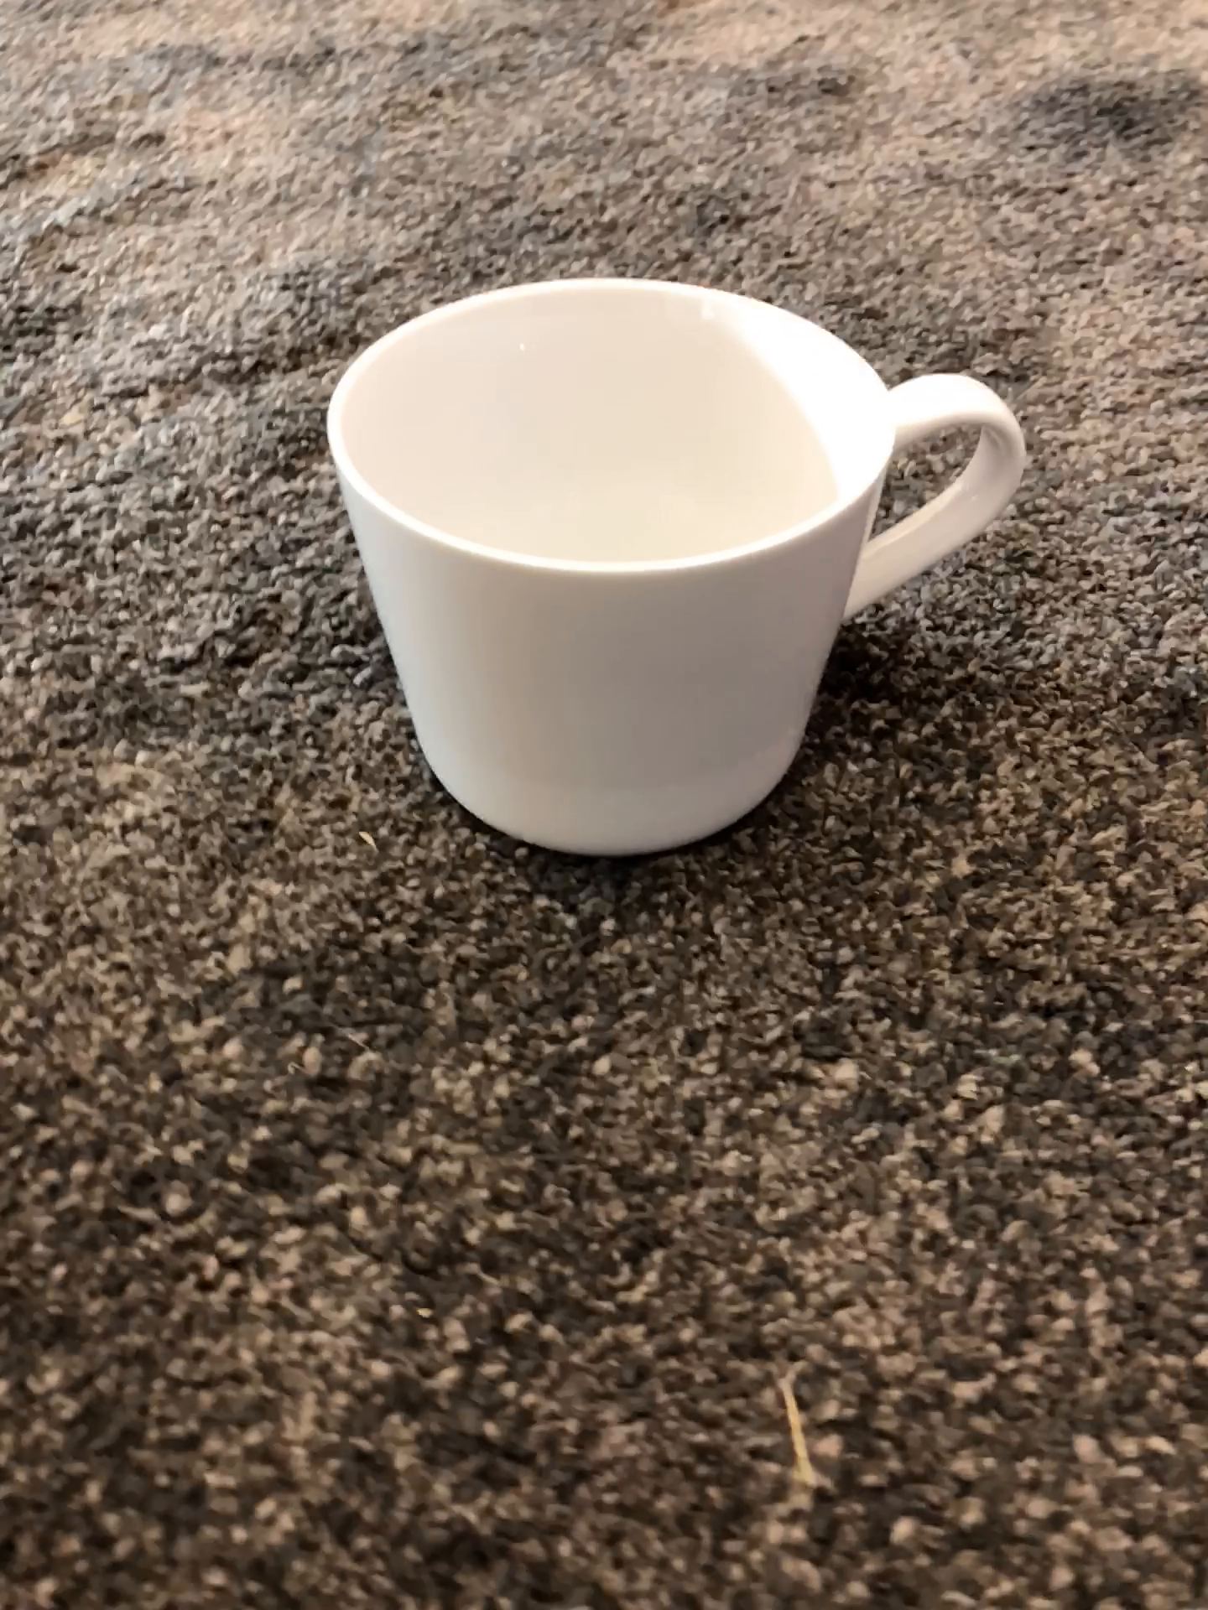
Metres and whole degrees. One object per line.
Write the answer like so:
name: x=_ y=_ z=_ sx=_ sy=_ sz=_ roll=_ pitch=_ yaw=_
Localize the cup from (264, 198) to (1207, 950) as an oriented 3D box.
cup: x=0.017 y=-0.051 z=0.265 sx=0.140 sy=0.080 sz=0.100 roll=-13 pitch=47 yaw=-10
